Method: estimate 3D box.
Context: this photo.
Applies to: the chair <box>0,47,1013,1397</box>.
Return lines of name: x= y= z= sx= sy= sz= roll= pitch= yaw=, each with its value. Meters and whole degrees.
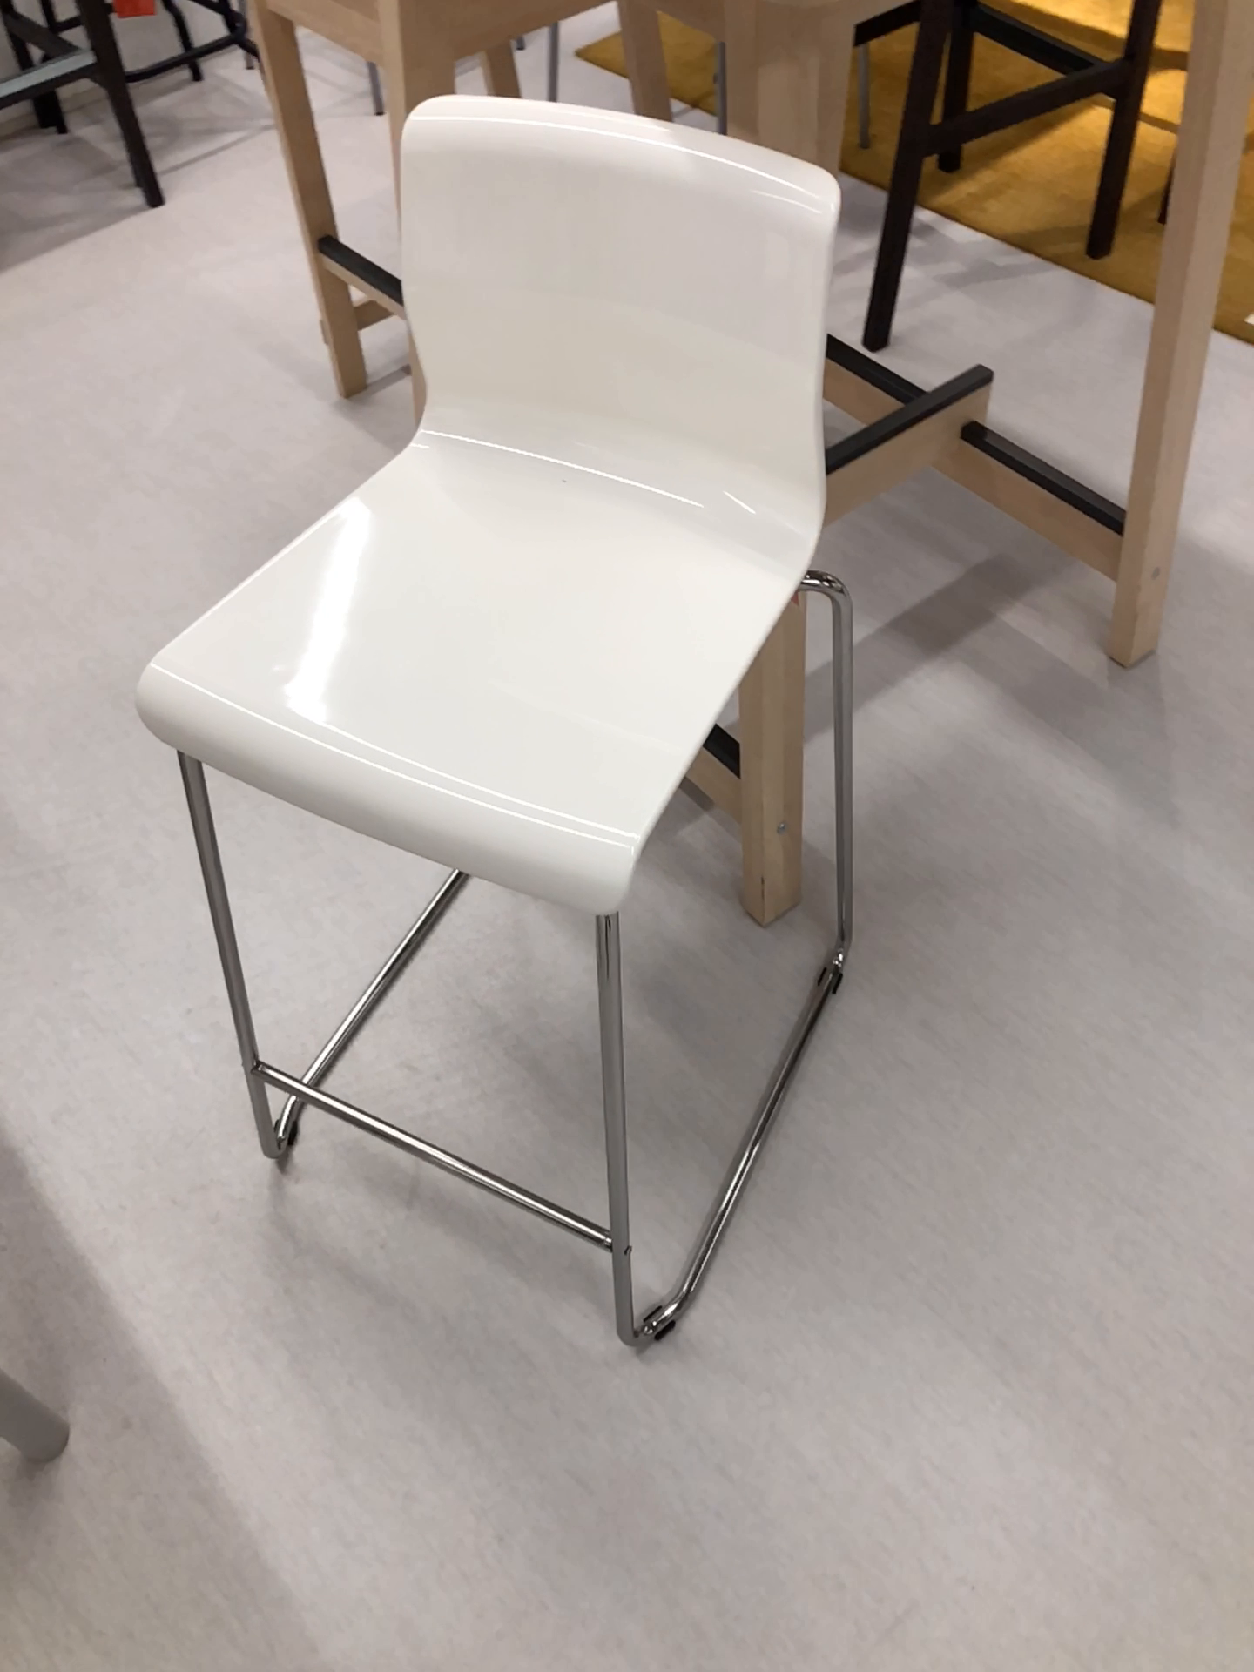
chair: x=-0.085 y=-0.044 z=1.102 sx=0.501 sy=0.825 sz=0.552 roll=19 pitch=55 yaw=18
